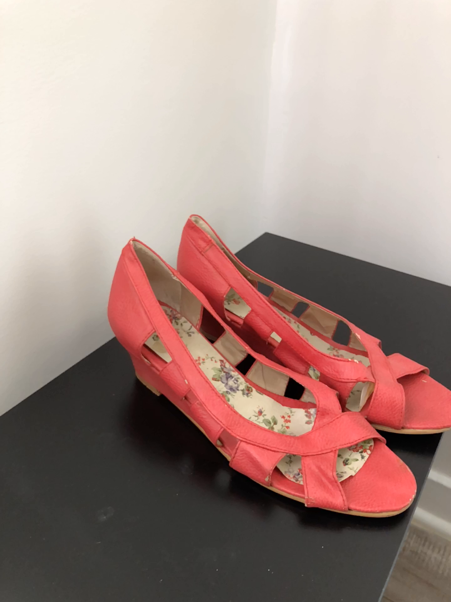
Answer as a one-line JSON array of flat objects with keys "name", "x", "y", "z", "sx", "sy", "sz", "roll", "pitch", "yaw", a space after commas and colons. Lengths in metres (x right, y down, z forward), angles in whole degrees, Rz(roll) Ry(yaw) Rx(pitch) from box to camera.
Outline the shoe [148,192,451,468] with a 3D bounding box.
[{"name": "shoe", "x": 0.062, "y": 0.007, "z": 0.357, "sx": 0.231, "sy": 0.100, "sz": 0.078, "roll": 20, "pitch": 36, "yaw": 25}]

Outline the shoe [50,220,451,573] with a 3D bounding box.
[{"name": "shoe", "x": 0.013, "y": 0.039, "z": 0.301, "sx": 0.221, "sy": 0.100, "sz": 0.088, "roll": 20, "pitch": 36, "yaw": 25}]
